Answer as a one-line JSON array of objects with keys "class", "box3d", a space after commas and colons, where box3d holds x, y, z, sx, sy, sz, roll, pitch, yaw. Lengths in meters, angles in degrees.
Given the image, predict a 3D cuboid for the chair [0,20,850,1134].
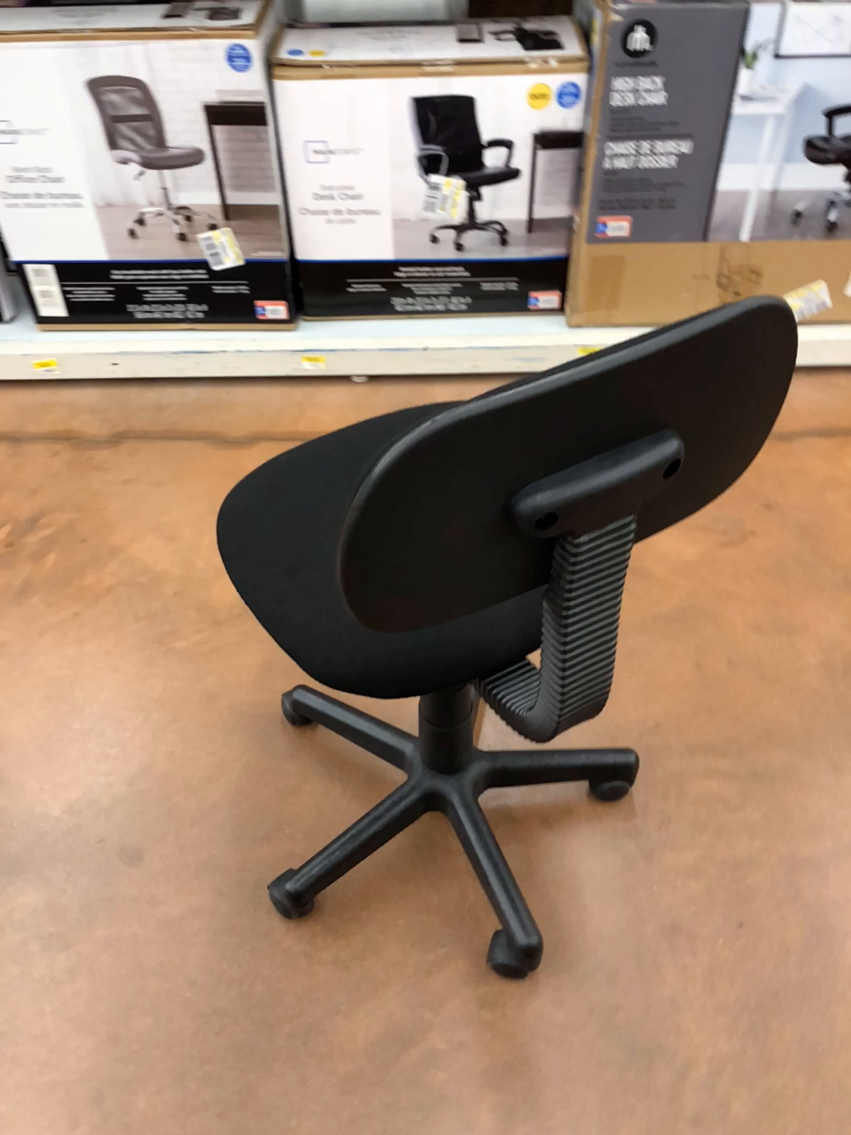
[{"class": "chair", "box3d": [-0.033, -0.002, 1.008, 0.670, 0.797, 0.662, -22, 49, -19]}]
